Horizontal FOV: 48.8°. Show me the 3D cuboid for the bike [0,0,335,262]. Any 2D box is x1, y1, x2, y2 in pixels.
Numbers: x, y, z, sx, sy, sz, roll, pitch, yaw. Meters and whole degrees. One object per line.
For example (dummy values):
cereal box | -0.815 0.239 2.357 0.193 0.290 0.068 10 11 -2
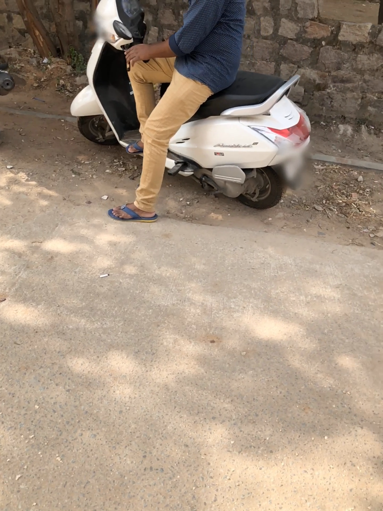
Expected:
bike | -0.190 -0.894 2.408 1.588 1.199 0.626 22 39 22
